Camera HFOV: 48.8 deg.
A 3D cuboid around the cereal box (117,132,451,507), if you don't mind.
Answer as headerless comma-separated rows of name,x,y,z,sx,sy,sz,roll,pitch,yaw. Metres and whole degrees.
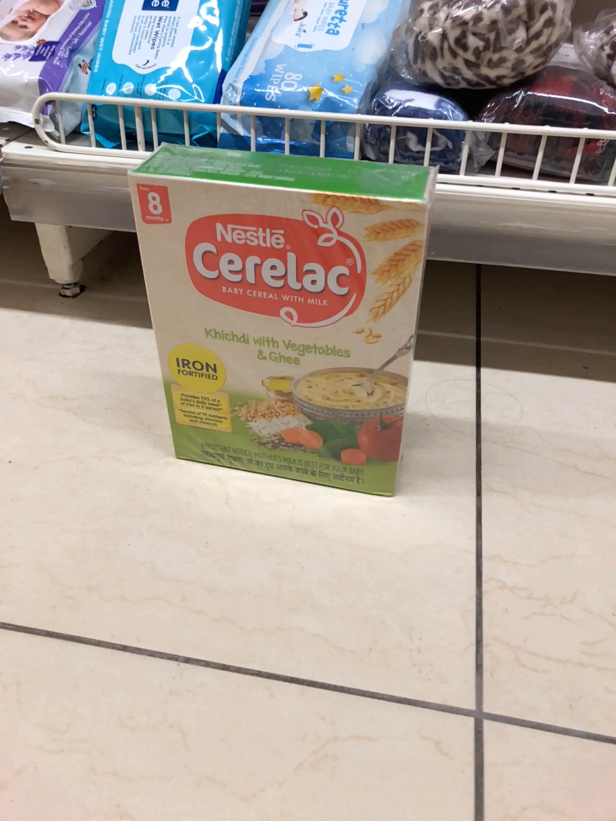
cereal box,-0.011,-0.048,0.407,0.160,0.199,0.060,9,38,11
